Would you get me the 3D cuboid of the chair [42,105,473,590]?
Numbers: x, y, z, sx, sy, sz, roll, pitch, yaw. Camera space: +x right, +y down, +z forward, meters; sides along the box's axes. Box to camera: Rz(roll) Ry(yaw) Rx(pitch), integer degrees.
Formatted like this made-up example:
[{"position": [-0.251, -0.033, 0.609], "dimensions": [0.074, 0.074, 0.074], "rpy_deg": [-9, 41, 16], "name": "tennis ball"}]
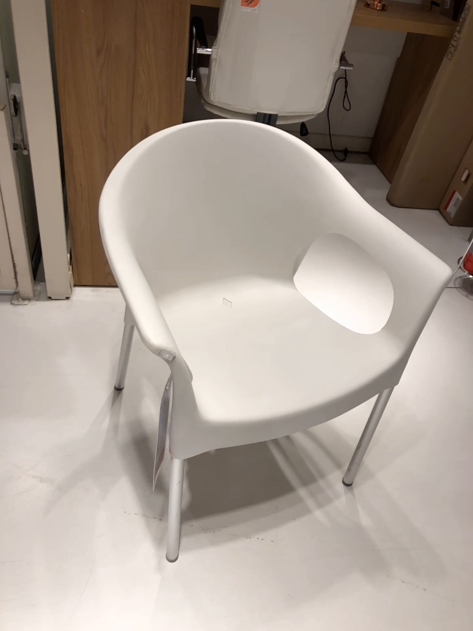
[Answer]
[{"position": [-0.016, 0.026, 1.143], "dimensions": [0.611, 0.734, 0.613], "rpy_deg": [-11, 44, -24], "name": "chair"}]
